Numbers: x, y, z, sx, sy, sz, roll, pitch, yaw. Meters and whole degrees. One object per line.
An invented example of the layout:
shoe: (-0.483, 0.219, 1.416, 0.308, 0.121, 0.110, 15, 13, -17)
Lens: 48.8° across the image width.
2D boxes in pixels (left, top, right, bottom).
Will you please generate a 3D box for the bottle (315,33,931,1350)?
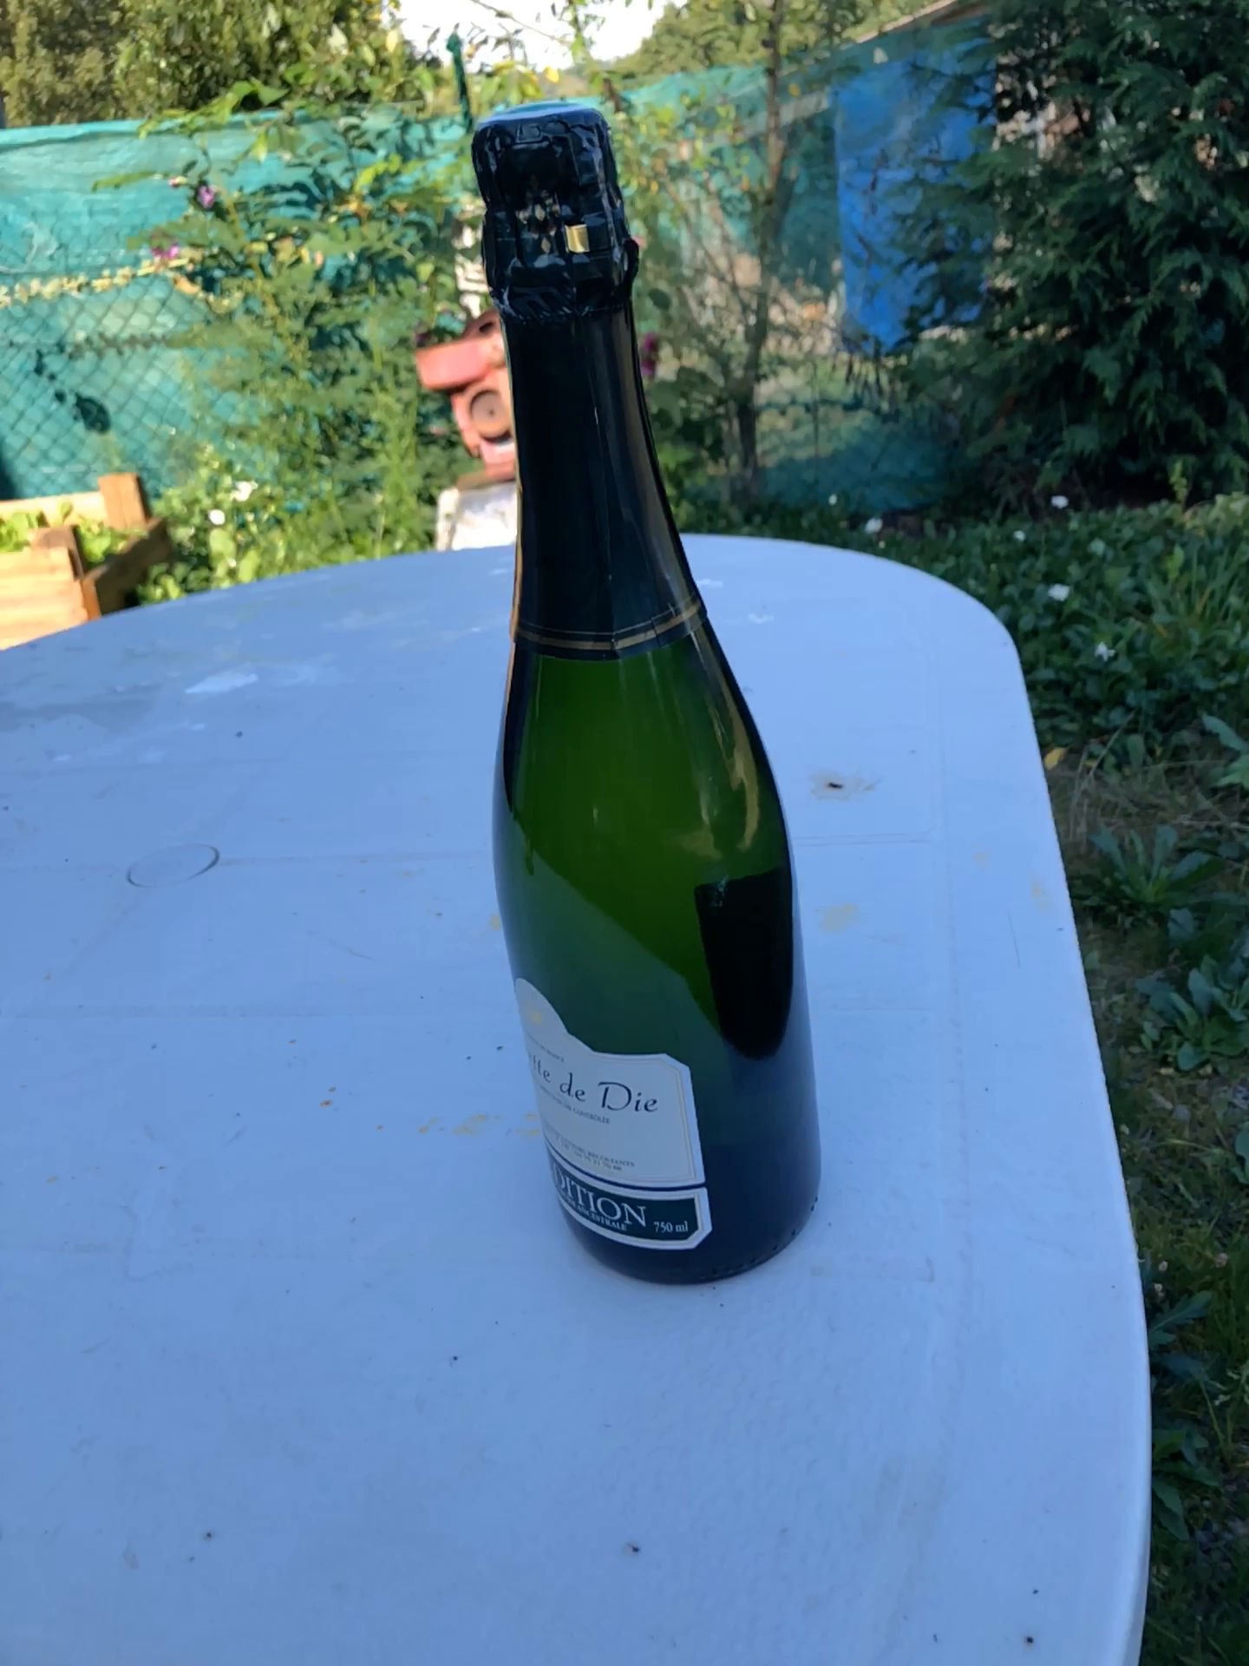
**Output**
bottle: (0.011, -0.027, 0.365, 0.100, 0.308, 0.090, -21, 30, -27)
